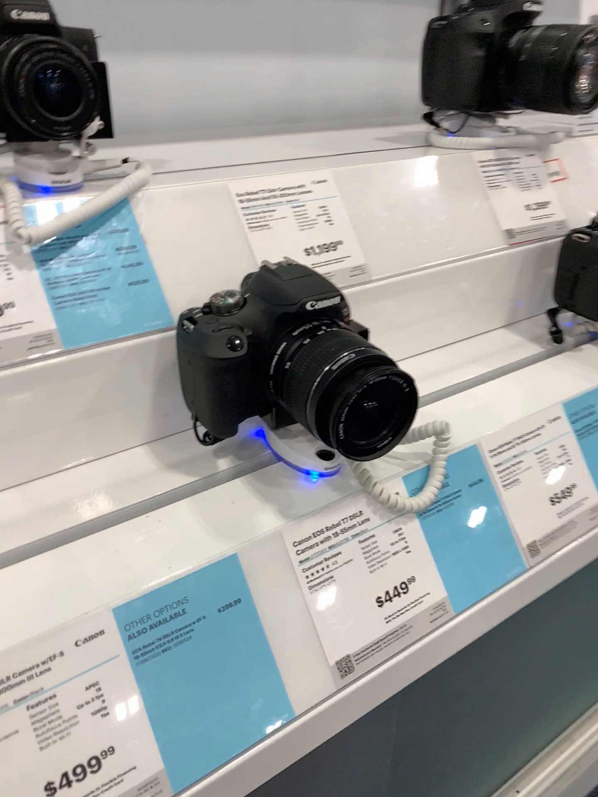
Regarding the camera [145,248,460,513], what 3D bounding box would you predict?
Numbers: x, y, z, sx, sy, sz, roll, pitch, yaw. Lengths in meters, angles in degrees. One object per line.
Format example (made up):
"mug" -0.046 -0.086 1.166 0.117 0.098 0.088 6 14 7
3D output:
"camera" -0.002 -0.026 0.400 0.130 0.090 0.151 -21 36 -32
